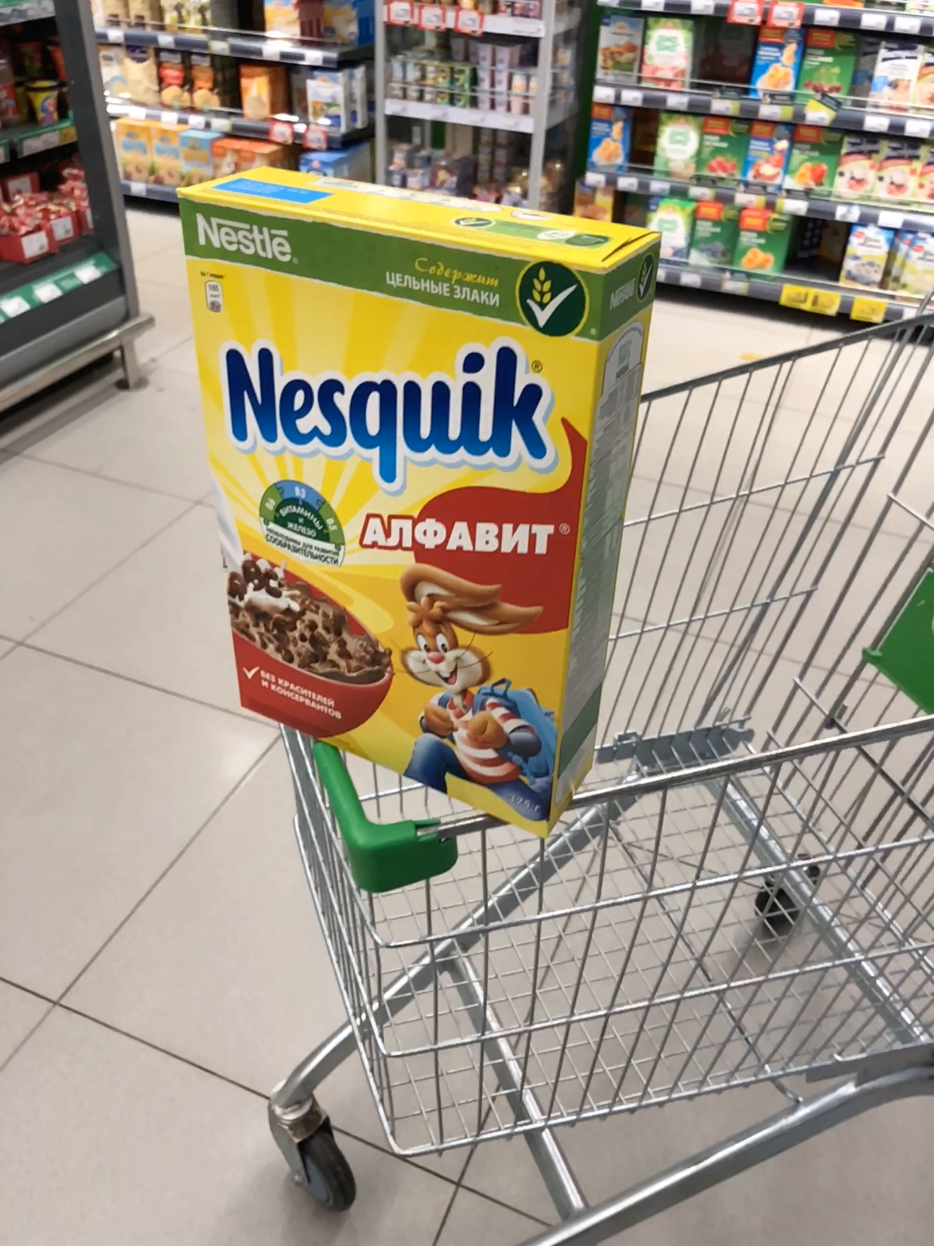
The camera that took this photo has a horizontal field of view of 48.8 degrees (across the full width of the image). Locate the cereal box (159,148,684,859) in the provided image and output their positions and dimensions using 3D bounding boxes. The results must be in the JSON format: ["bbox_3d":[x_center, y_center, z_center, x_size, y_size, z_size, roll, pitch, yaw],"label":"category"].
[{"bbox_3d":[-0.028,-0.048,0.481,0.200,0.288,0.060,19,38,21],"label":"cereal box"}]
